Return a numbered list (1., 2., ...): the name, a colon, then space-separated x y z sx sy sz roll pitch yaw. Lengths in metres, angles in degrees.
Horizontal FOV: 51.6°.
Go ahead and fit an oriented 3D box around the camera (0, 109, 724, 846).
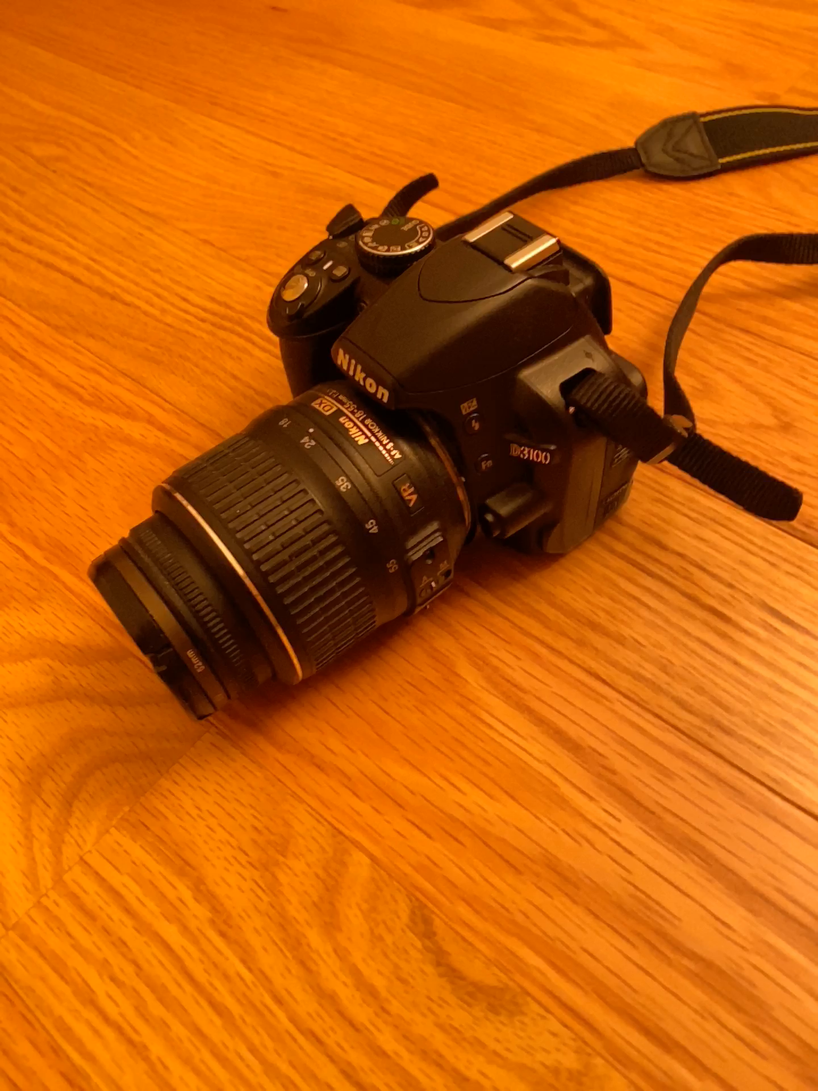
1. camera: -0.020 -0.029 0.255 0.160 0.099 0.130 -38 59 -20
